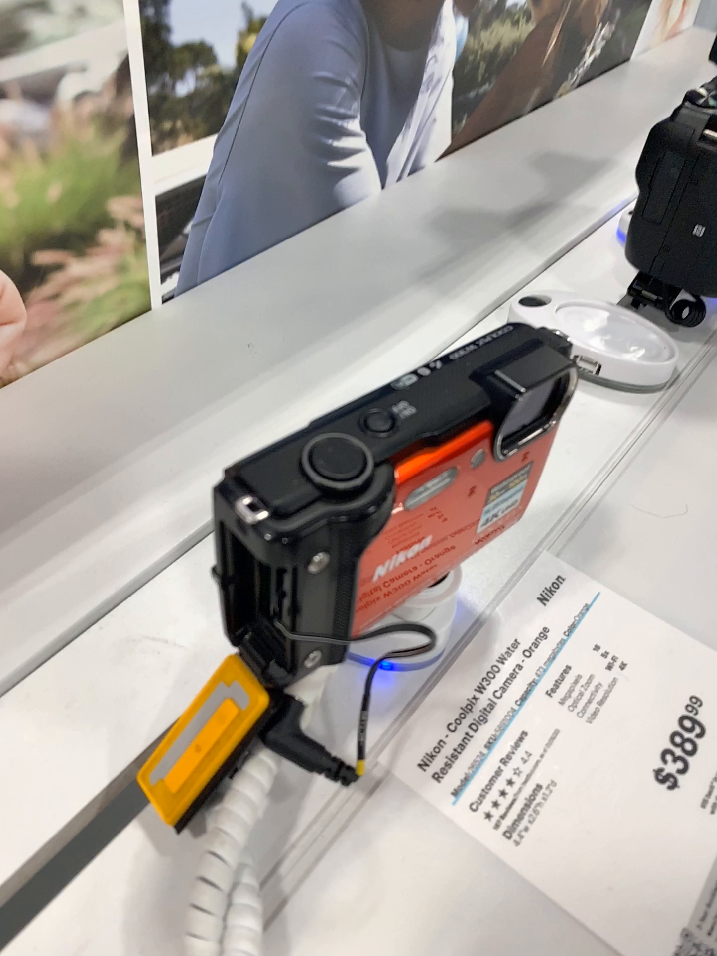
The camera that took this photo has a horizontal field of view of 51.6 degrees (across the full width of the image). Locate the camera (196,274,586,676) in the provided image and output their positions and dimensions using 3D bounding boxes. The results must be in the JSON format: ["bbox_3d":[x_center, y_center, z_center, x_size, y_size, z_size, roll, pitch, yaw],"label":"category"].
[{"bbox_3d":[0.011,-0.004,0.194,0.105,0.063,0.025,-32,57,-32],"label":"camera"}]
